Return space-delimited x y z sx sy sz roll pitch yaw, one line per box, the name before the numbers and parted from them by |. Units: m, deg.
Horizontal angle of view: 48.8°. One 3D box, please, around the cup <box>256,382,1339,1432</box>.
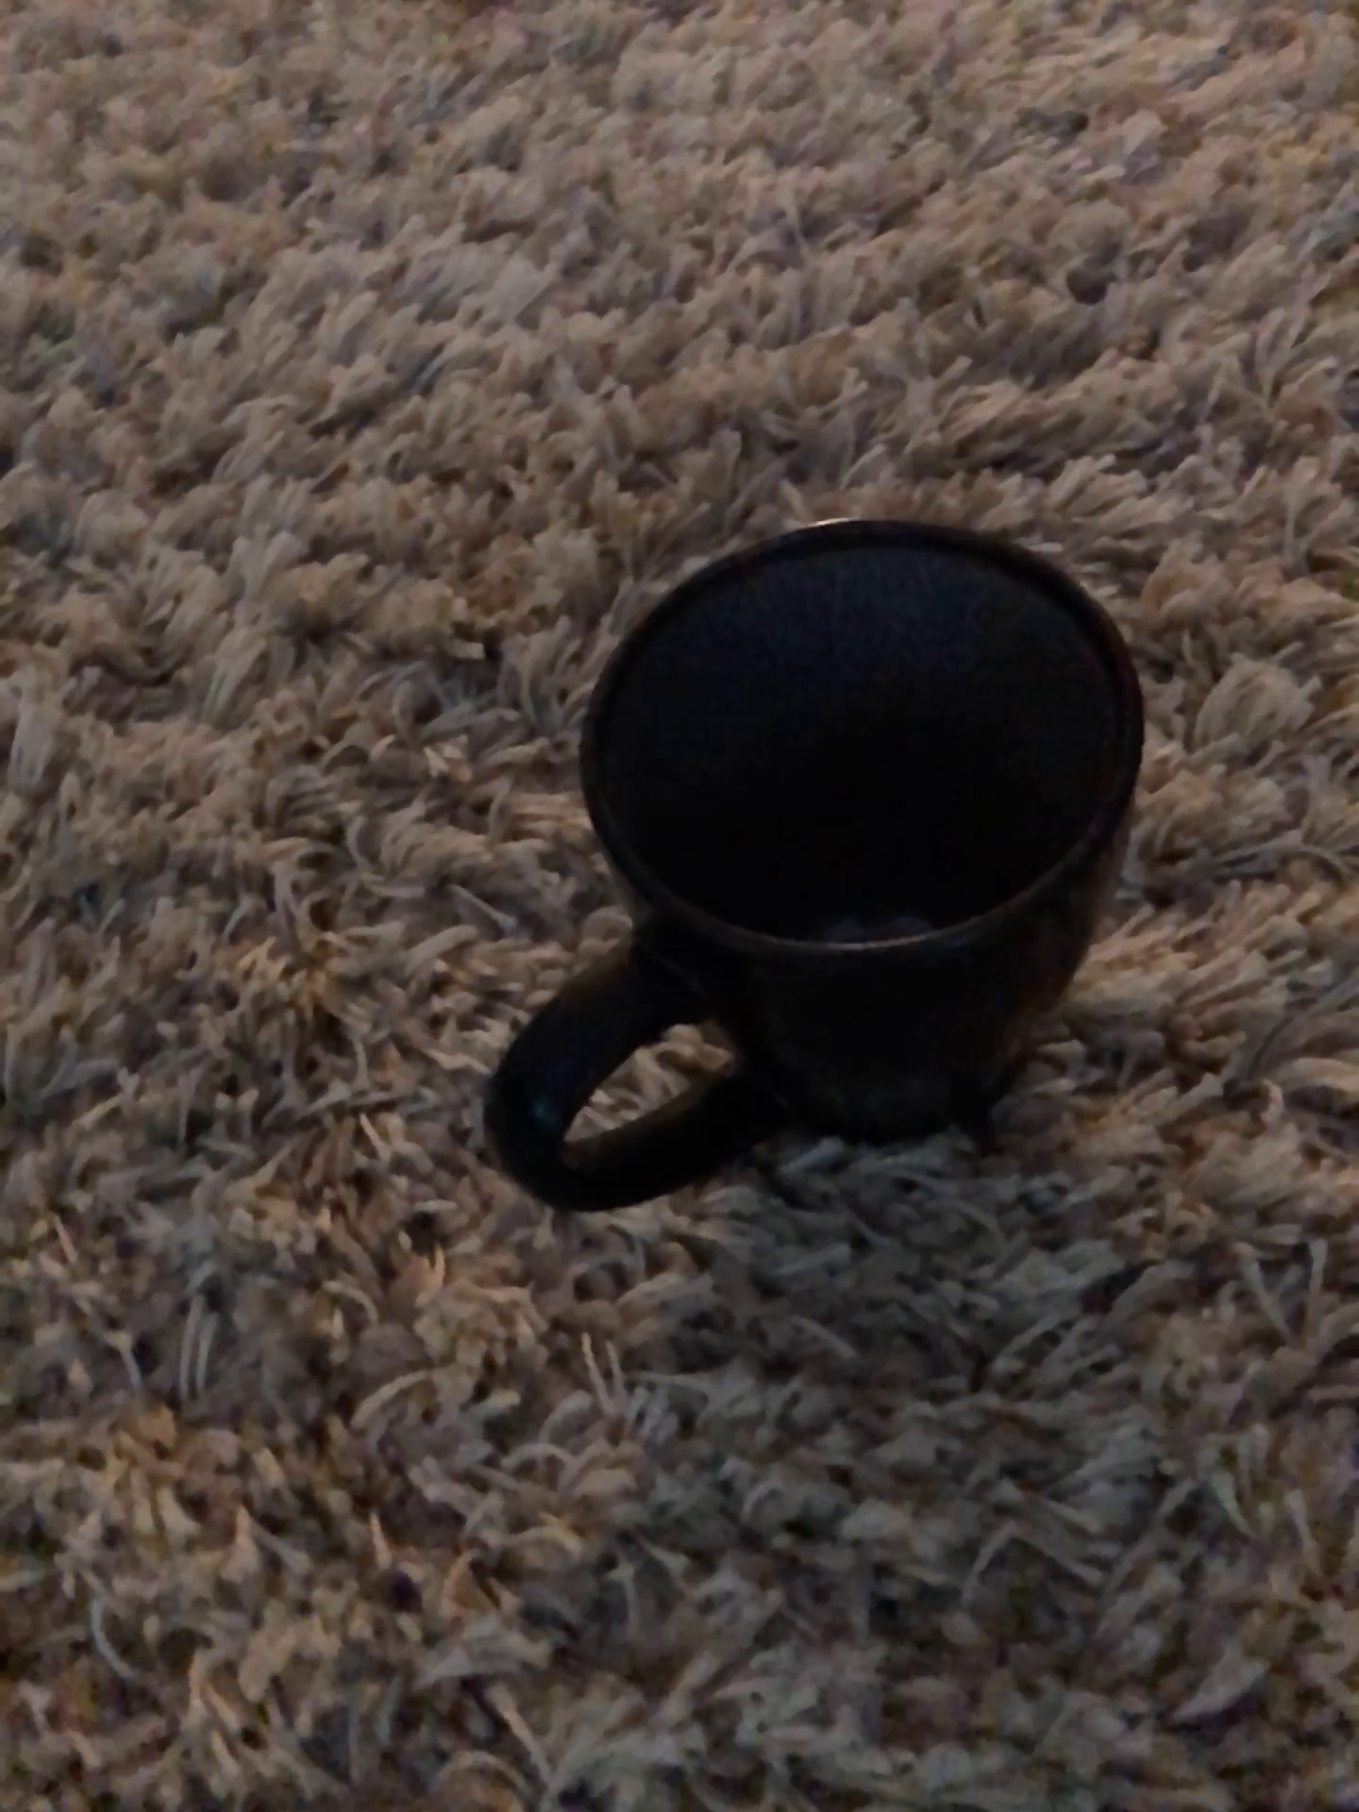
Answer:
cup | 0.023 -0.002 0.264 0.140 0.090 0.090 -37 58 -16
